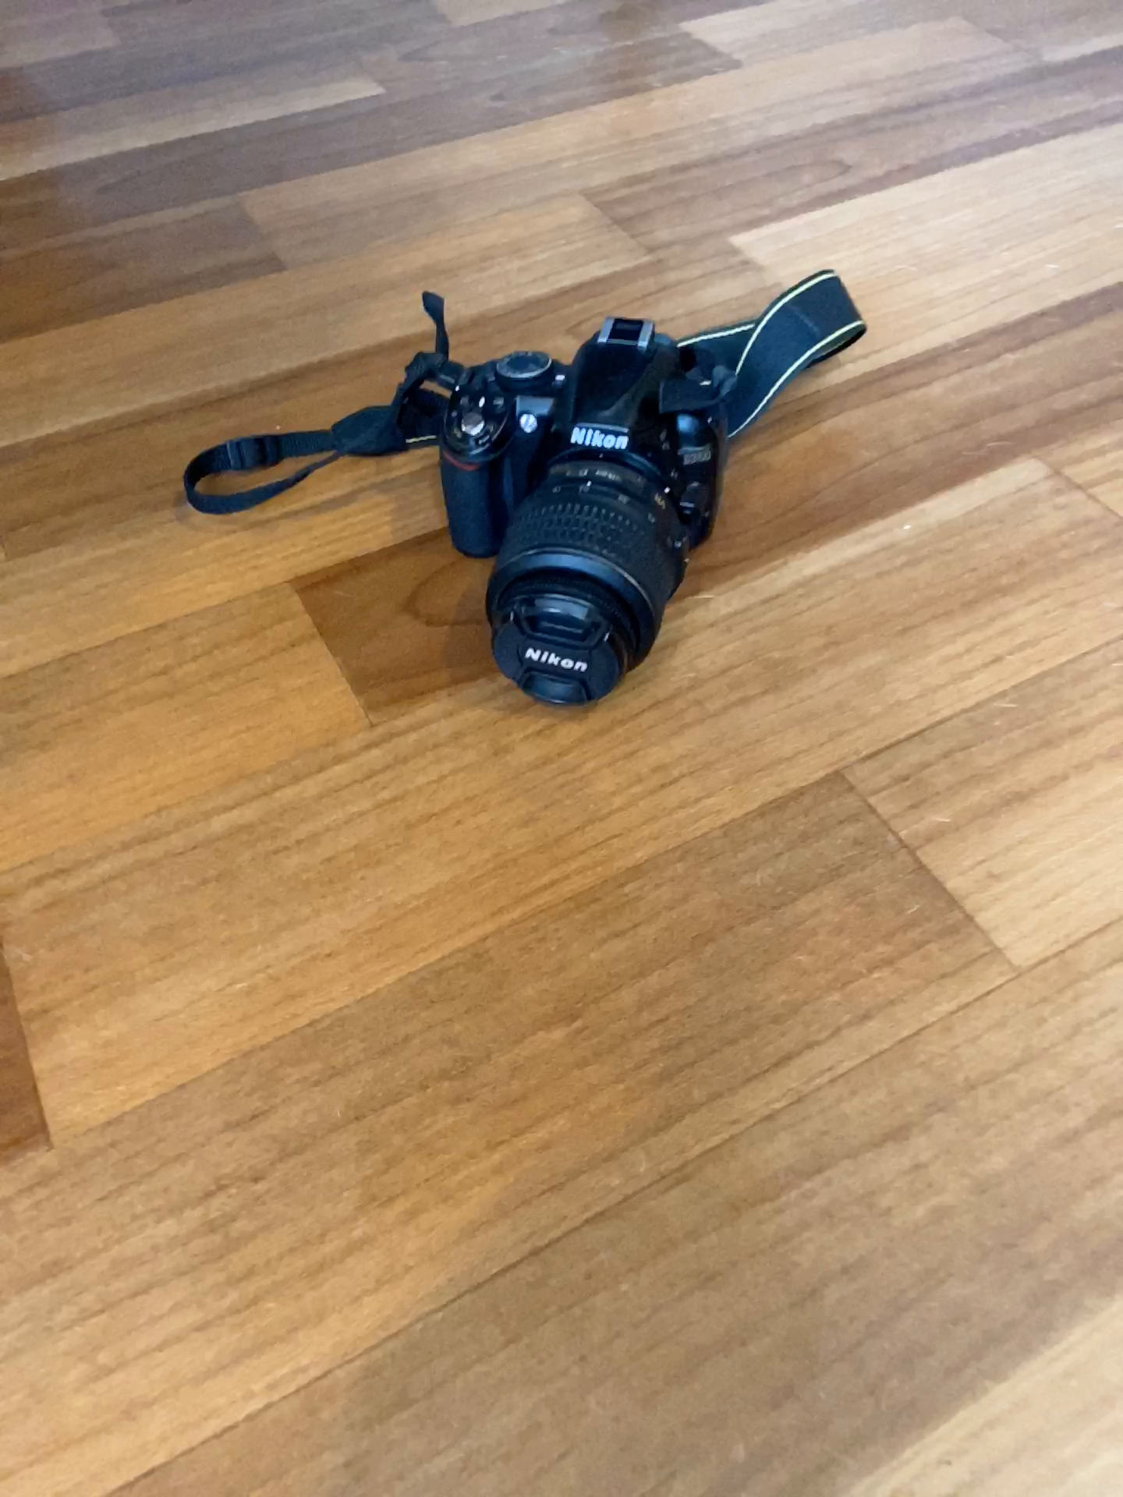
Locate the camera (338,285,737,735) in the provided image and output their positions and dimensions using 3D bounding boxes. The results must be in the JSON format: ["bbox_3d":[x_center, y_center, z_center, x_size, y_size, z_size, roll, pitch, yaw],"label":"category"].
[{"bbox_3d":[-0.001,-0.104,0.476,0.120,0.090,0.162,8,51,9],"label":"camera"}]
